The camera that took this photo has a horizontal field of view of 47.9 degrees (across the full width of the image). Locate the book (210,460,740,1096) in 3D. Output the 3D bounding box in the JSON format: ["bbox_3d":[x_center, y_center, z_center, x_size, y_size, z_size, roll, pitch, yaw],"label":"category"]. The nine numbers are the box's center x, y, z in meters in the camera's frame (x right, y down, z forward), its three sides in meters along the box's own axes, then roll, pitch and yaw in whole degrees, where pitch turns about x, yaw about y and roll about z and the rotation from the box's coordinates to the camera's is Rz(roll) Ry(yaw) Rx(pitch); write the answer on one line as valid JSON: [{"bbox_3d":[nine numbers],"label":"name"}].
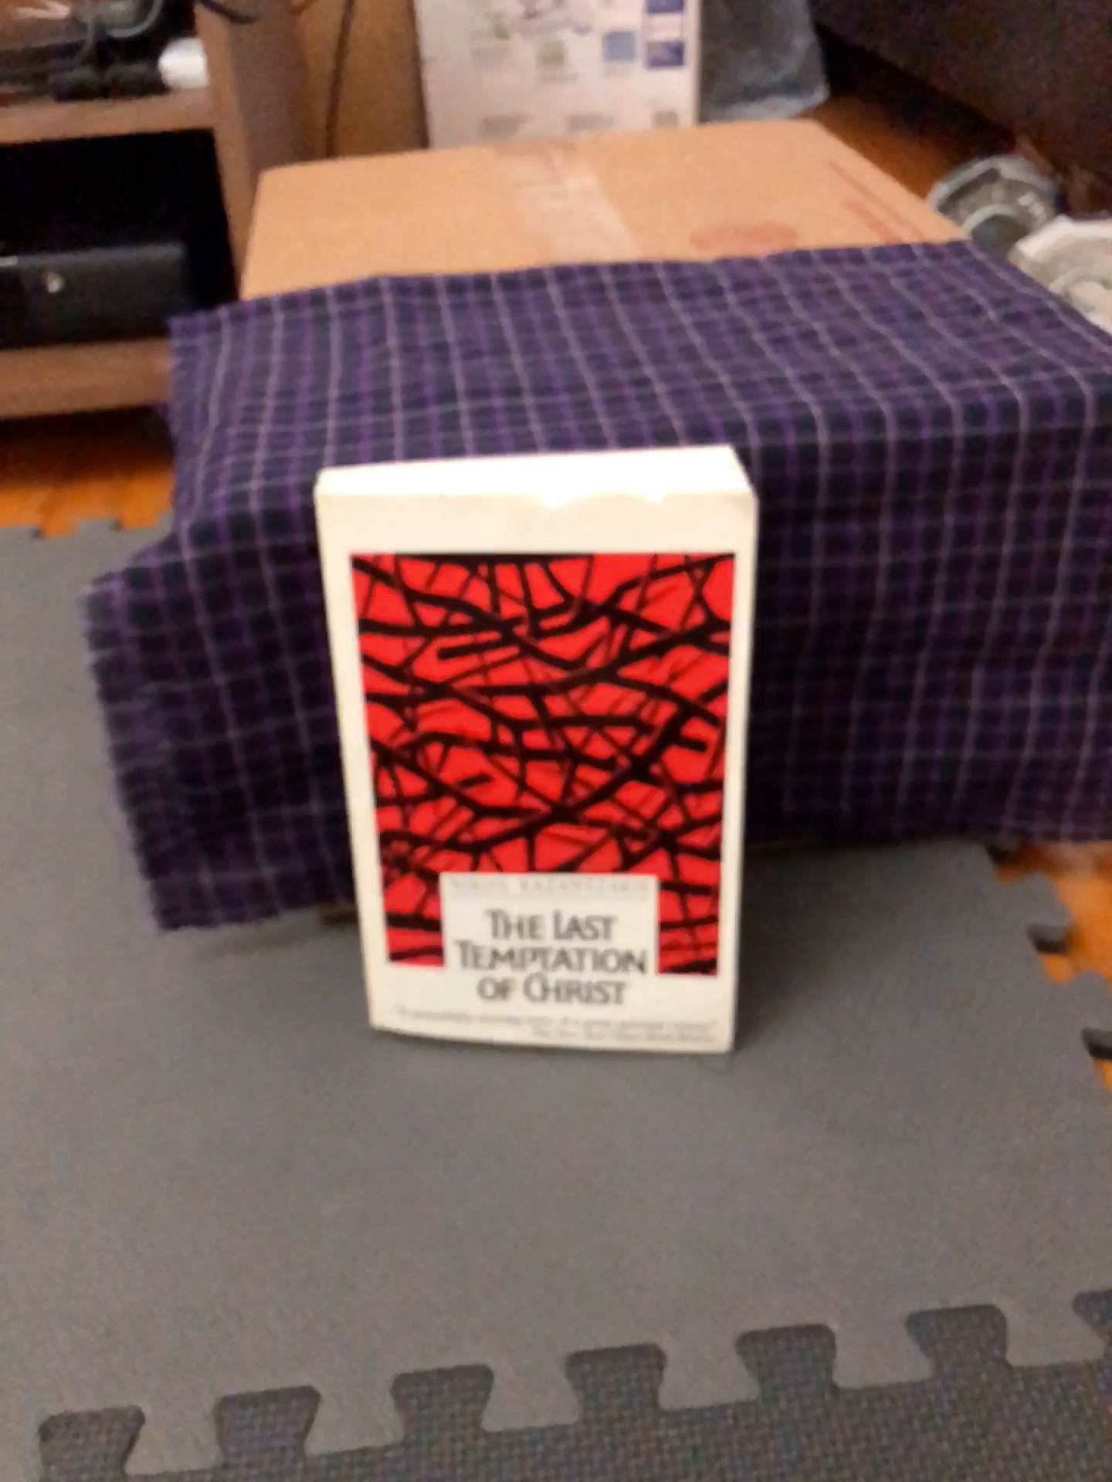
[{"bbox_3d":[-0.017,0.017,0.426,0.150,0.209,0.050,1,27,13],"label":"book"}]
